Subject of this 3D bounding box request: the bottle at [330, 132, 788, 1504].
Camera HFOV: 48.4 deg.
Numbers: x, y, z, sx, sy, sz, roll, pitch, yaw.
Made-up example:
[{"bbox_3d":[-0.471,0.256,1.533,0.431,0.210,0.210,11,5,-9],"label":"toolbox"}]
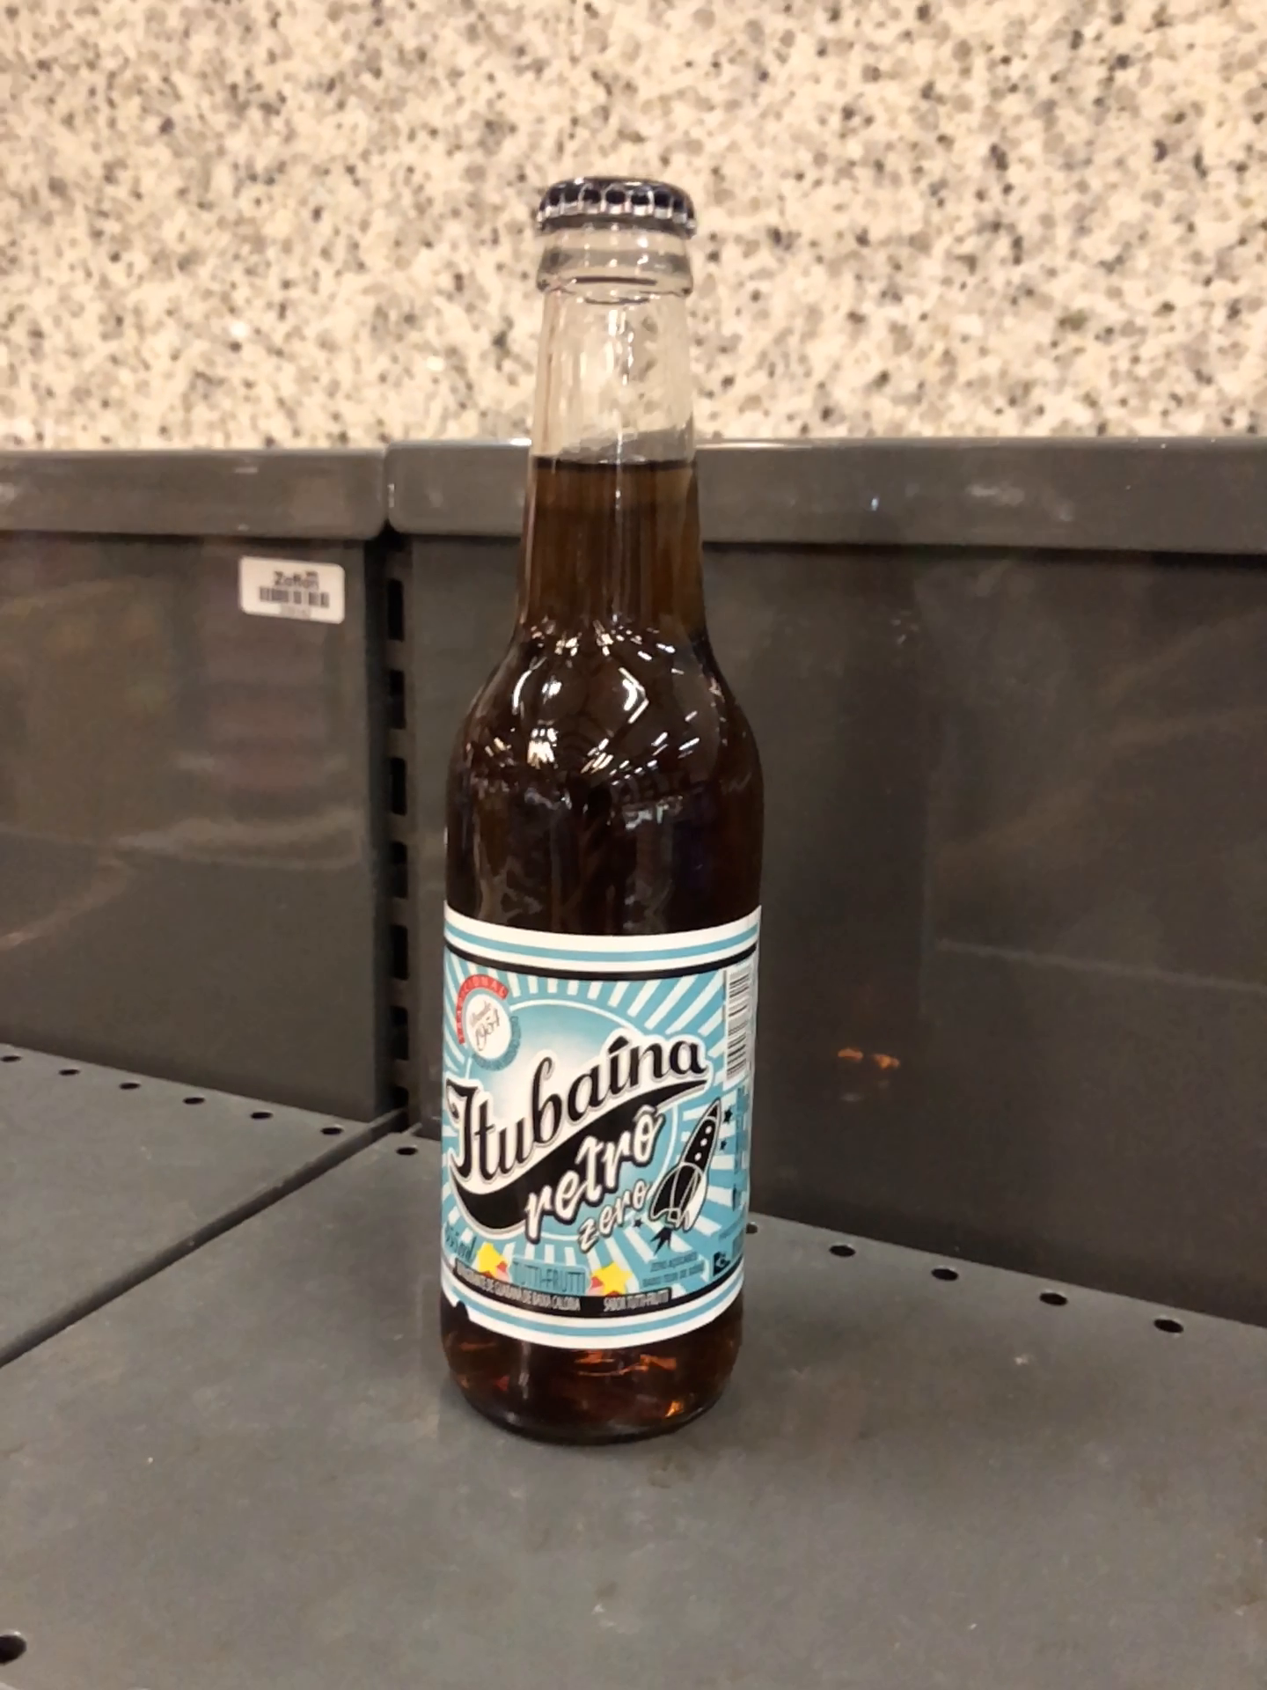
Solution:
[{"bbox_3d":[-0.012,0.000,0.273,0.070,0.239,0.050,3,12,12],"label":"bottle"}]
